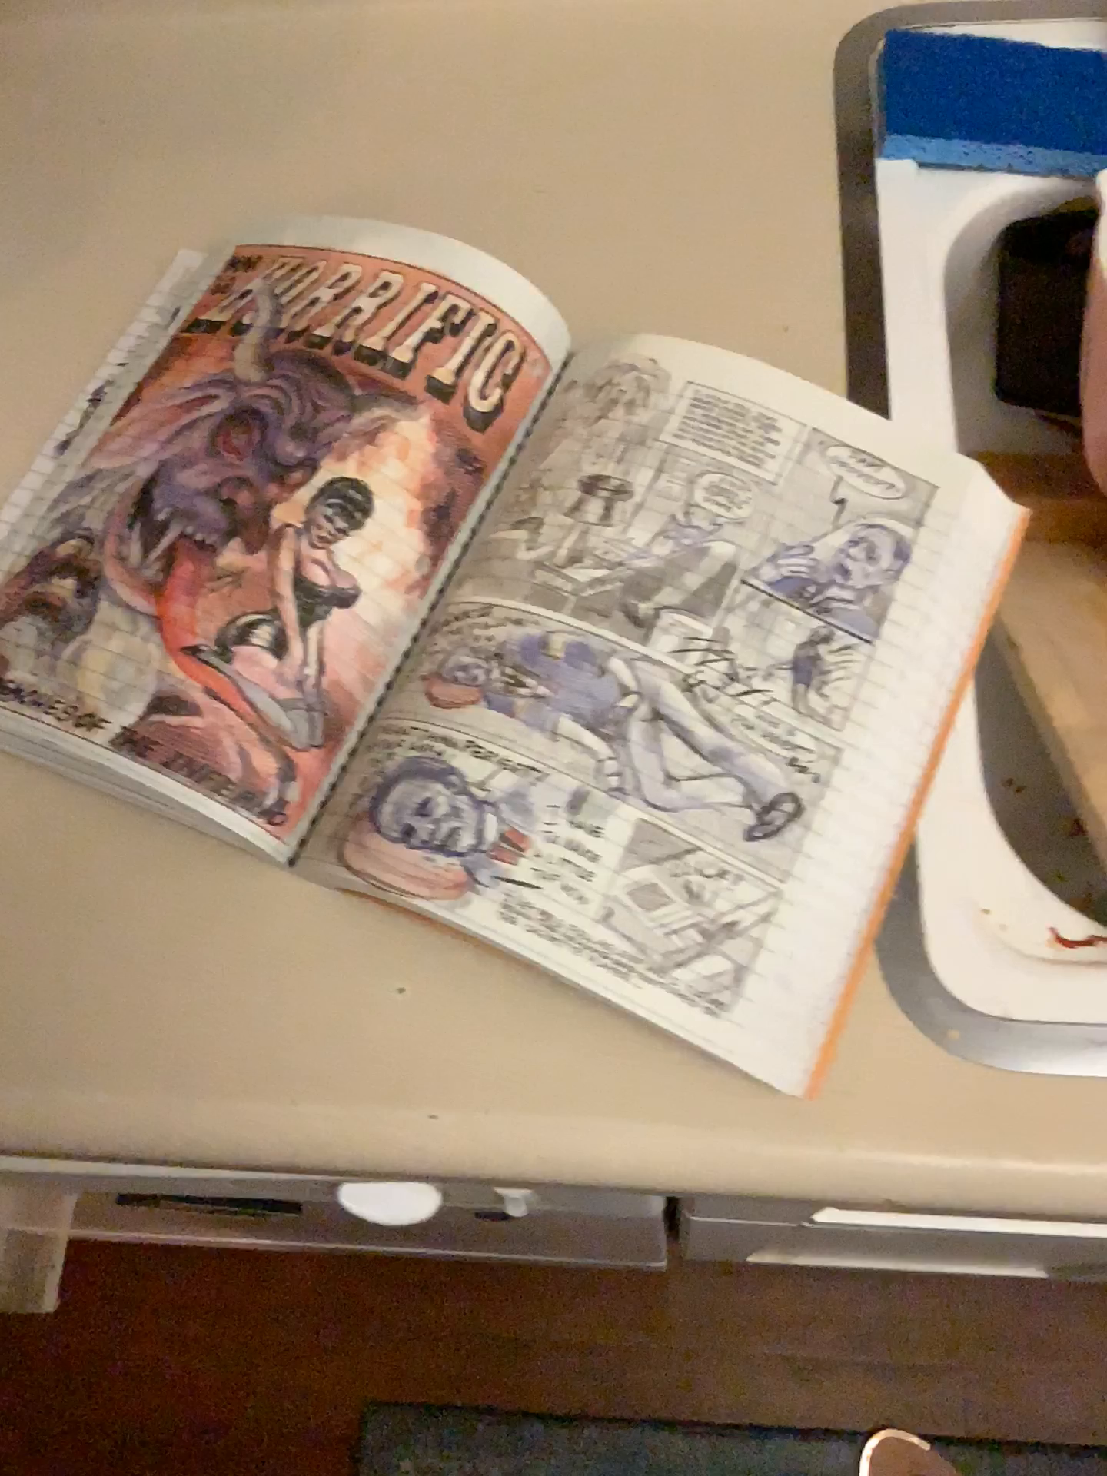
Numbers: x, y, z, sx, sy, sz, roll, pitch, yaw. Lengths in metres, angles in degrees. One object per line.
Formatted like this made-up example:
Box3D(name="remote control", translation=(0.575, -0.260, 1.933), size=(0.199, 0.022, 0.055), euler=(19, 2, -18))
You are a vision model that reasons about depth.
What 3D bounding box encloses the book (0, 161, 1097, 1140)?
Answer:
Box3D(name="book", translation=(-0.044, -0.067, 0.494), size=(0.430, 0.050, 0.280), euler=(21, 69, 14))
